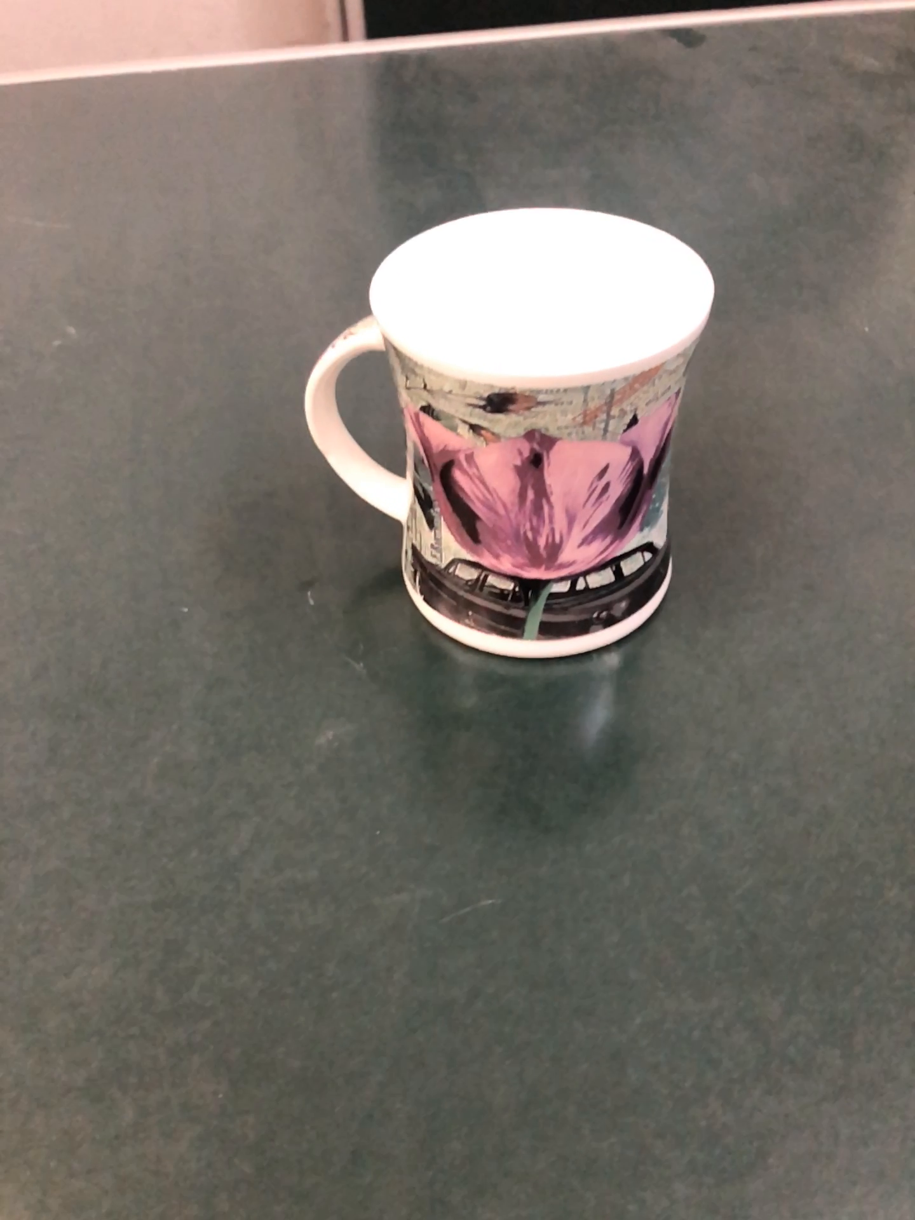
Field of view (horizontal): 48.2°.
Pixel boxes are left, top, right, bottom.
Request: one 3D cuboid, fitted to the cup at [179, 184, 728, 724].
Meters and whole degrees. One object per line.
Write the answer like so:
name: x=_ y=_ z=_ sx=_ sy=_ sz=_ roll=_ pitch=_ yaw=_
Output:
cup: x=0.007 y=-0.045 z=0.289 sx=0.120 sy=0.110 sz=0.090 roll=6 pitch=46 yaw=9
